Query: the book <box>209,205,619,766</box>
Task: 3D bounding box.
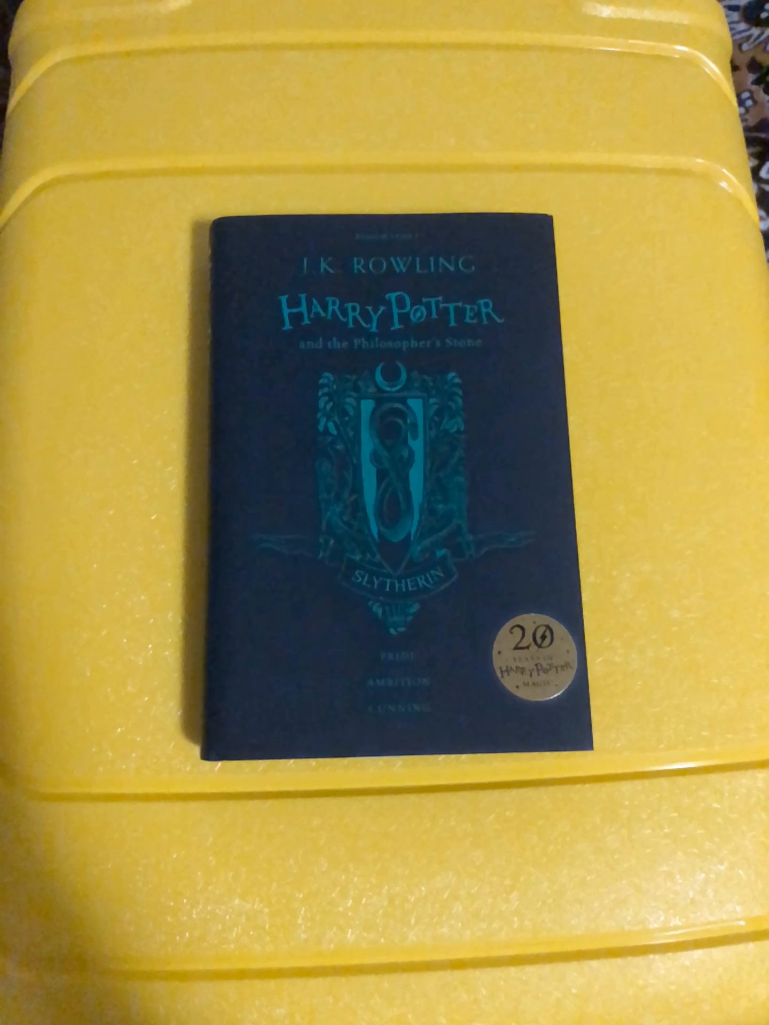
[{"bbox_3d":[0.007,-0.015,0.320,0.136,0.030,0.205,-1,77,-2],"label":"book"}]
